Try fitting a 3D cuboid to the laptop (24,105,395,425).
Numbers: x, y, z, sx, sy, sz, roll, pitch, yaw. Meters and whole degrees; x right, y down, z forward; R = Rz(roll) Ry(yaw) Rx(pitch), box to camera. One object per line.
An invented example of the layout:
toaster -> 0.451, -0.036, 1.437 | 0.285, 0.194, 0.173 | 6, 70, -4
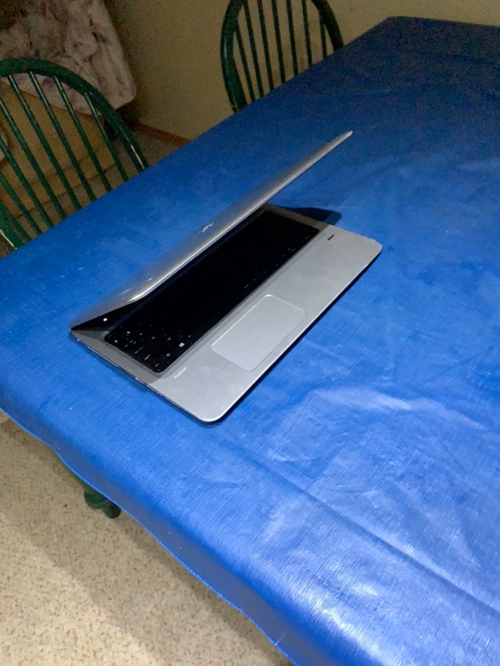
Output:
laptop -> -0.030, -0.117, 0.652 | 0.254, 0.156, 0.367 | 28, 55, 29
